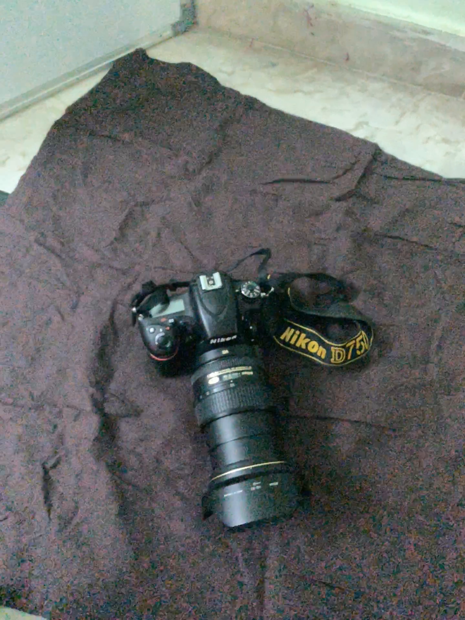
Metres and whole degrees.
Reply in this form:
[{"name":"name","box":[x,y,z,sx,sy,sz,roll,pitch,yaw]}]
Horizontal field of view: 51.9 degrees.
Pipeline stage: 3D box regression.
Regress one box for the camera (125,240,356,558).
[{"name":"camera","box":[-0.006,0.084,0.499,0.161,0.100,0.279,-11,66,-7]}]
